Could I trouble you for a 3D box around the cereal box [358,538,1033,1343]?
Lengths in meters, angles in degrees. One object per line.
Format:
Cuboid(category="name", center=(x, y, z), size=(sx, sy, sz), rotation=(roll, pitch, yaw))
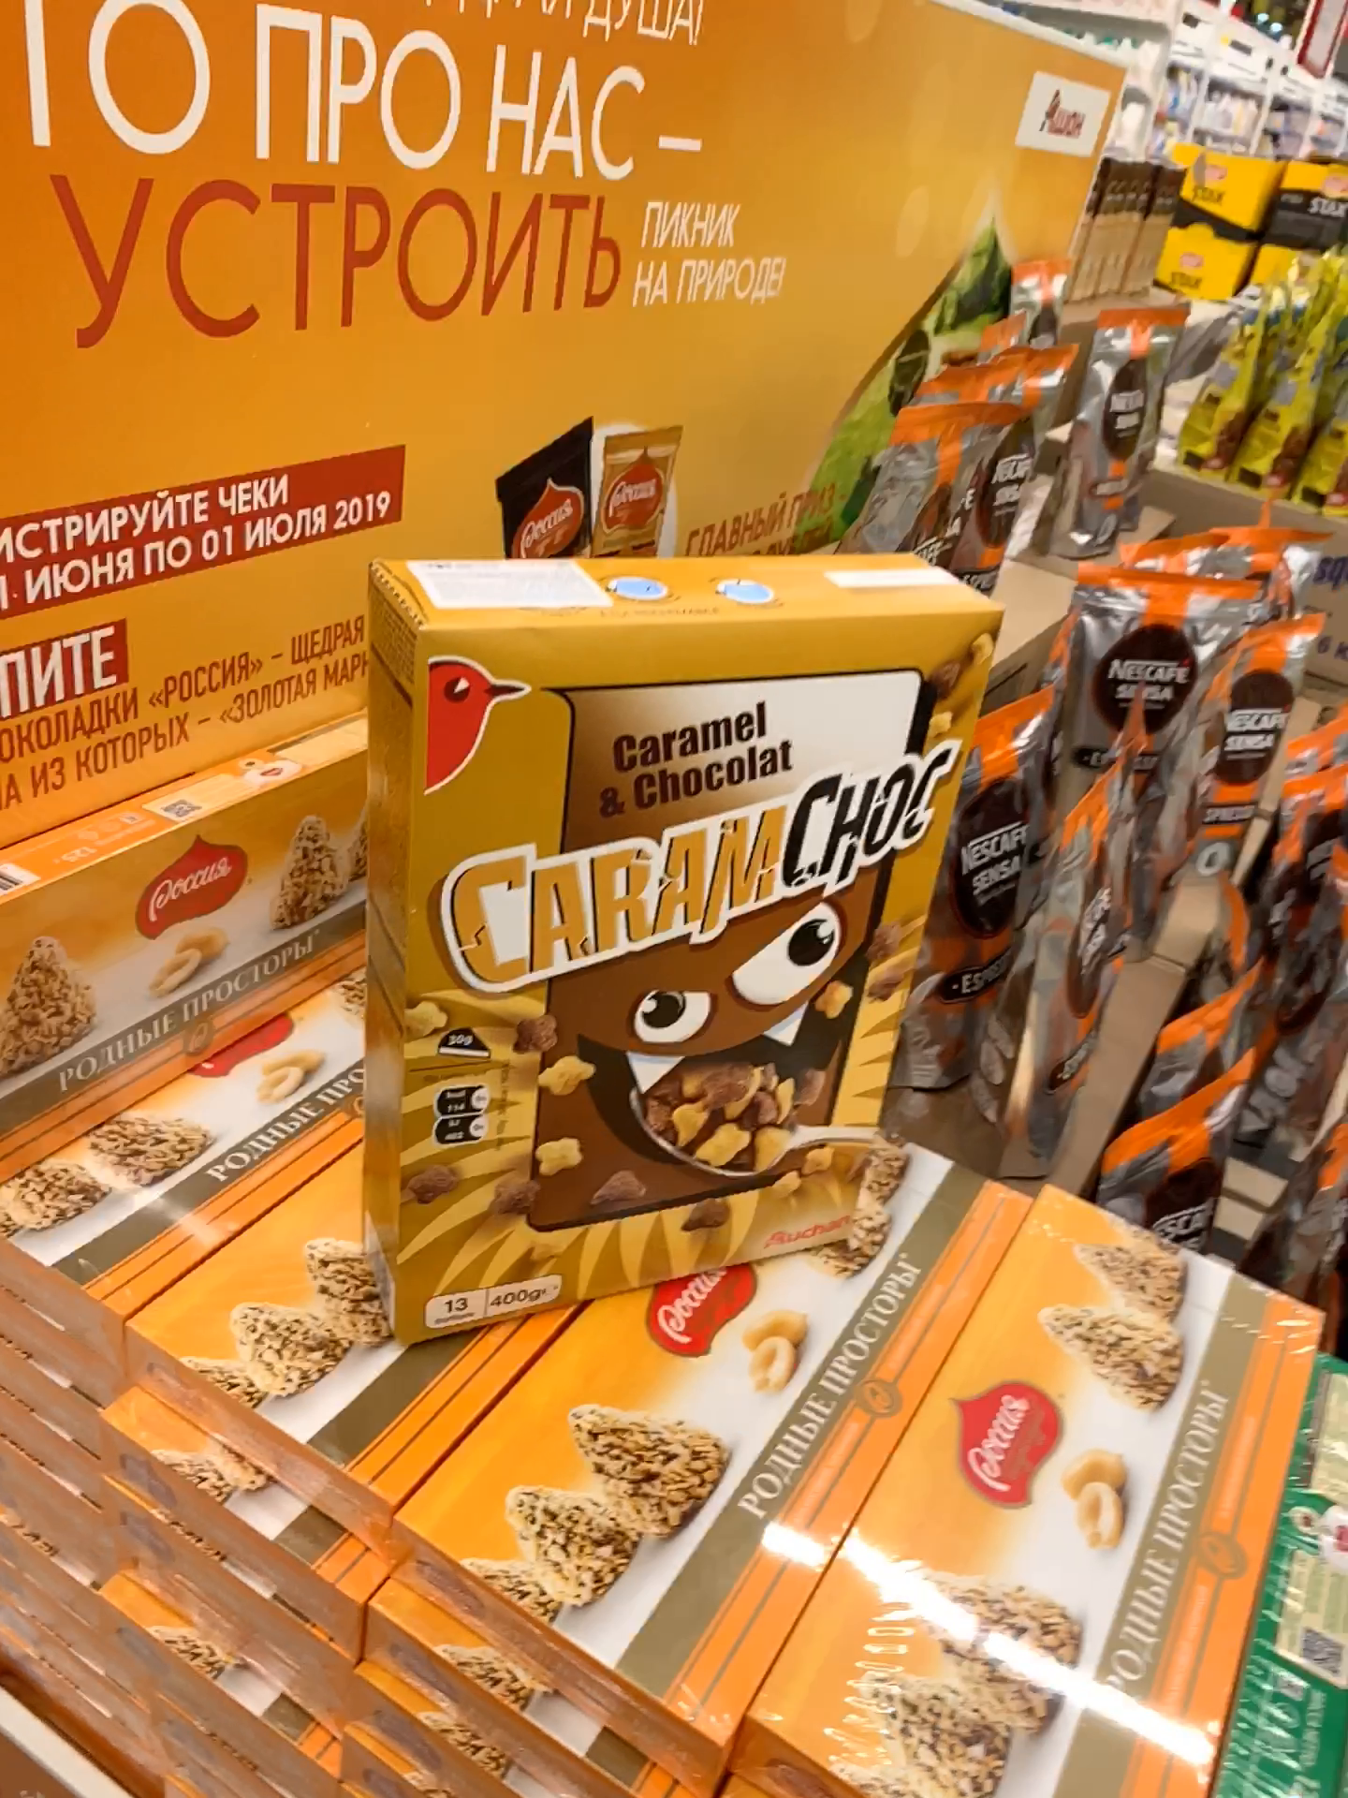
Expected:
Cuboid(category="cereal box", center=(-0.005, 0.017, 0.501), size=(0.200, 0.278, 0.060), rotation=(-6, 33, -24))
